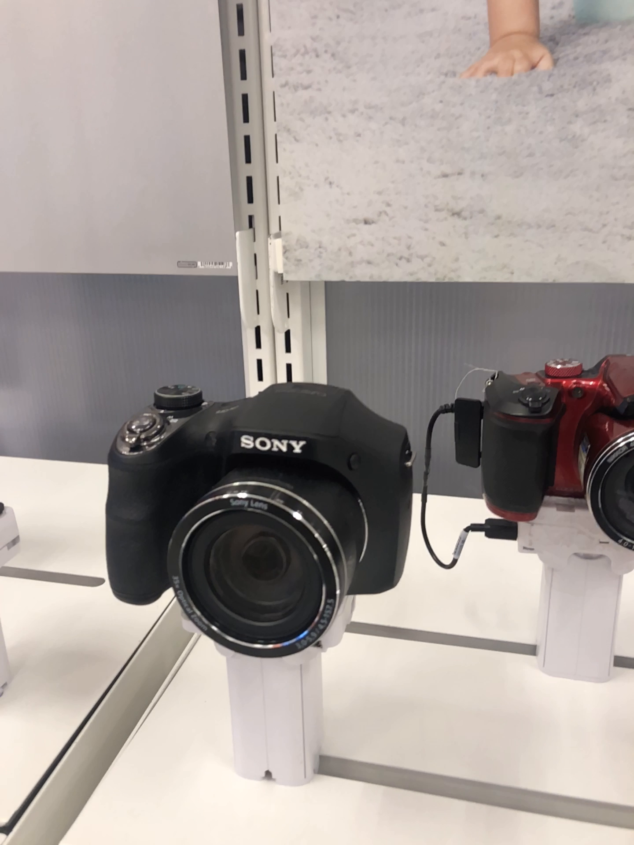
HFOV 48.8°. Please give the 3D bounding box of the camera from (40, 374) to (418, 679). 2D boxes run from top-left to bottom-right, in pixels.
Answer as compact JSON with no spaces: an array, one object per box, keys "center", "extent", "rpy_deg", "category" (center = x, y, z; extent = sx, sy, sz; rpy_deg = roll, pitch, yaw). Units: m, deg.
[{"center":[-0.025,0.032,0.275],"extent":[0.119,0.076,0.087],"rpy_deg":[3,21,12],"category":"camera"}]
